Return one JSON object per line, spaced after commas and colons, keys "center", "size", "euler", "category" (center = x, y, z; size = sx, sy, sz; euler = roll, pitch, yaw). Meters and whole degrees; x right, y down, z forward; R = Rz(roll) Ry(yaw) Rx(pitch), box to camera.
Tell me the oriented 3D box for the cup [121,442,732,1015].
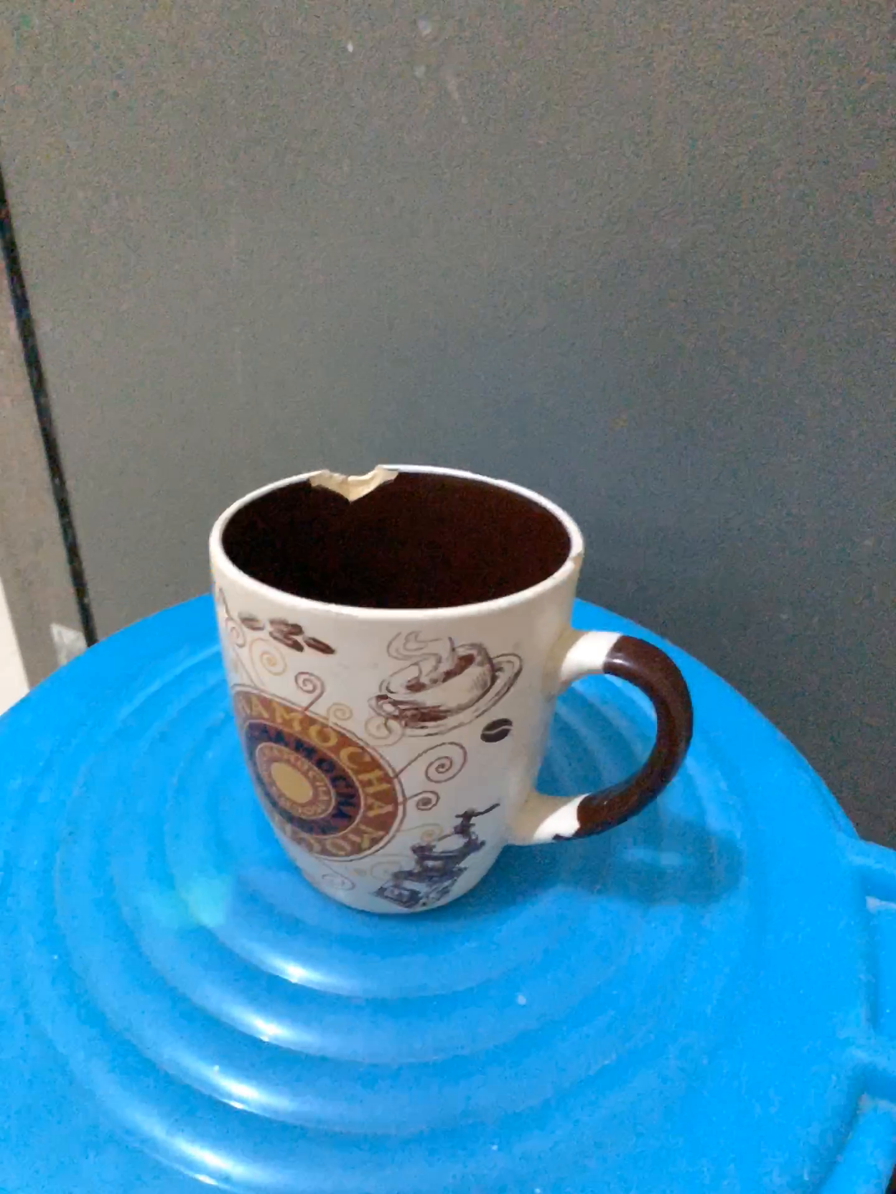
{"center": [-0.001, 0.023, 0.213], "size": [0.109, 0.082, 0.071], "euler": [10, 30, 14], "category": "cup"}
